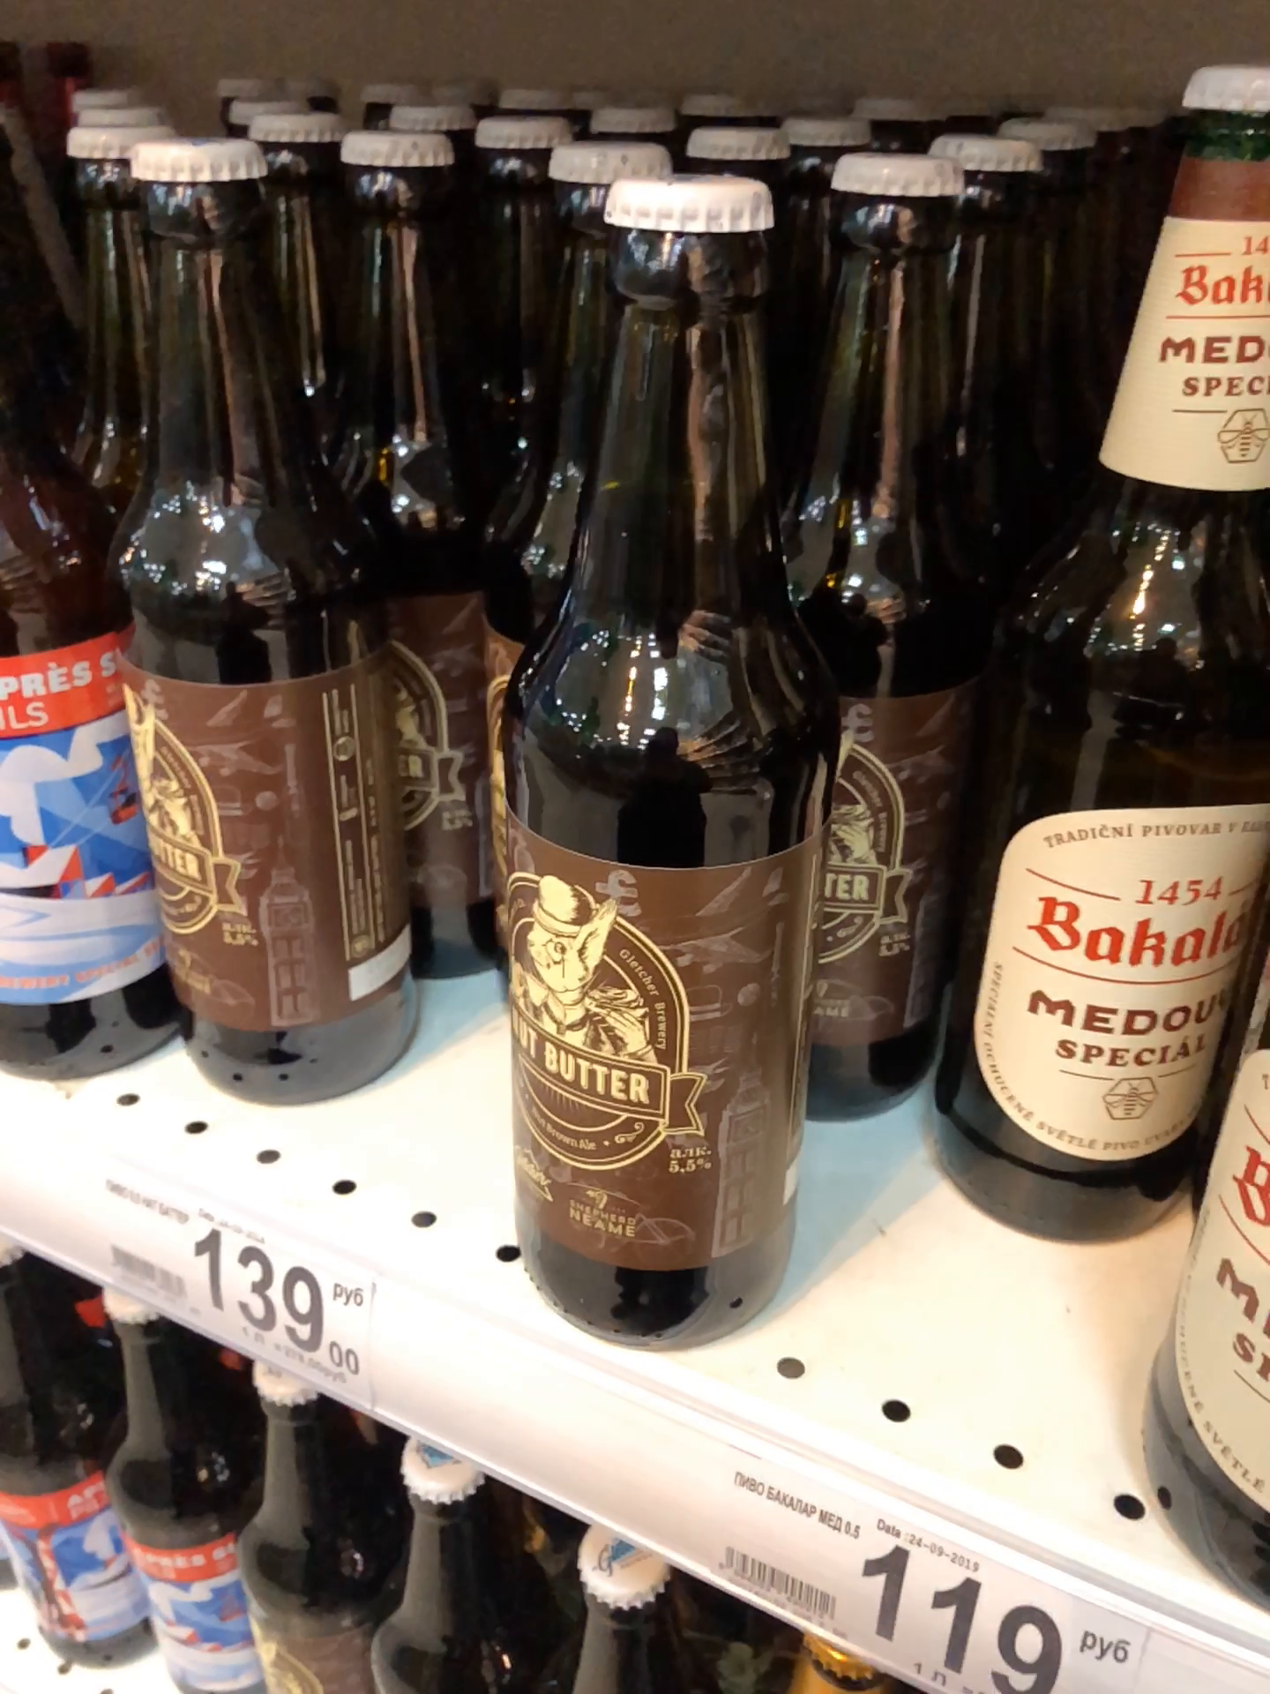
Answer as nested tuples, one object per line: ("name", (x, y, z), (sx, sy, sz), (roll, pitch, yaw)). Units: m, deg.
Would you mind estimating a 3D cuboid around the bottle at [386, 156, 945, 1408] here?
("bottle", (0.004, -0.005, 0.288), (0.070, 0.240, 0.060), (19, 33, 29))
